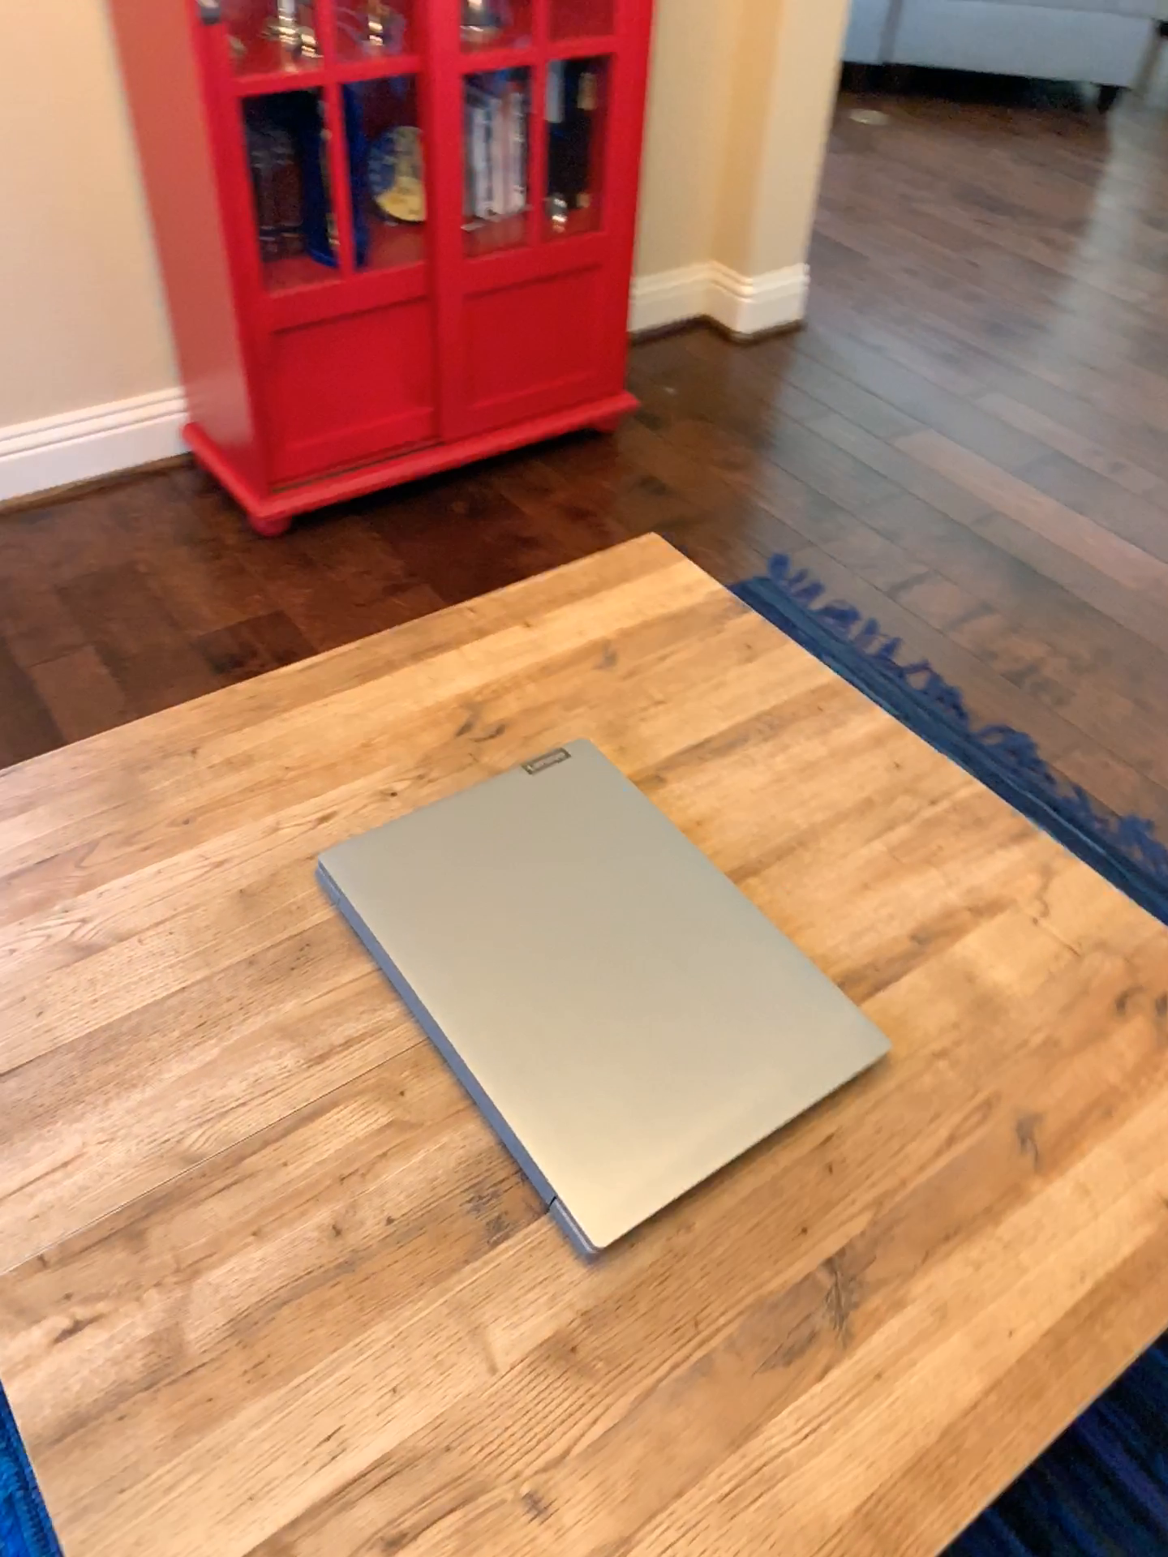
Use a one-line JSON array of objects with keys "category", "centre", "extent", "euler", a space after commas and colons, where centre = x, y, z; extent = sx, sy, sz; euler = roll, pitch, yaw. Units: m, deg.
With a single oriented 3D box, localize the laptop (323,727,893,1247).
[{"category": "laptop", "centre": [0.005, 0.114, 0.833], "extent": [0.237, 0.011, 0.348], "euler": [-26, 53, -25]}]
